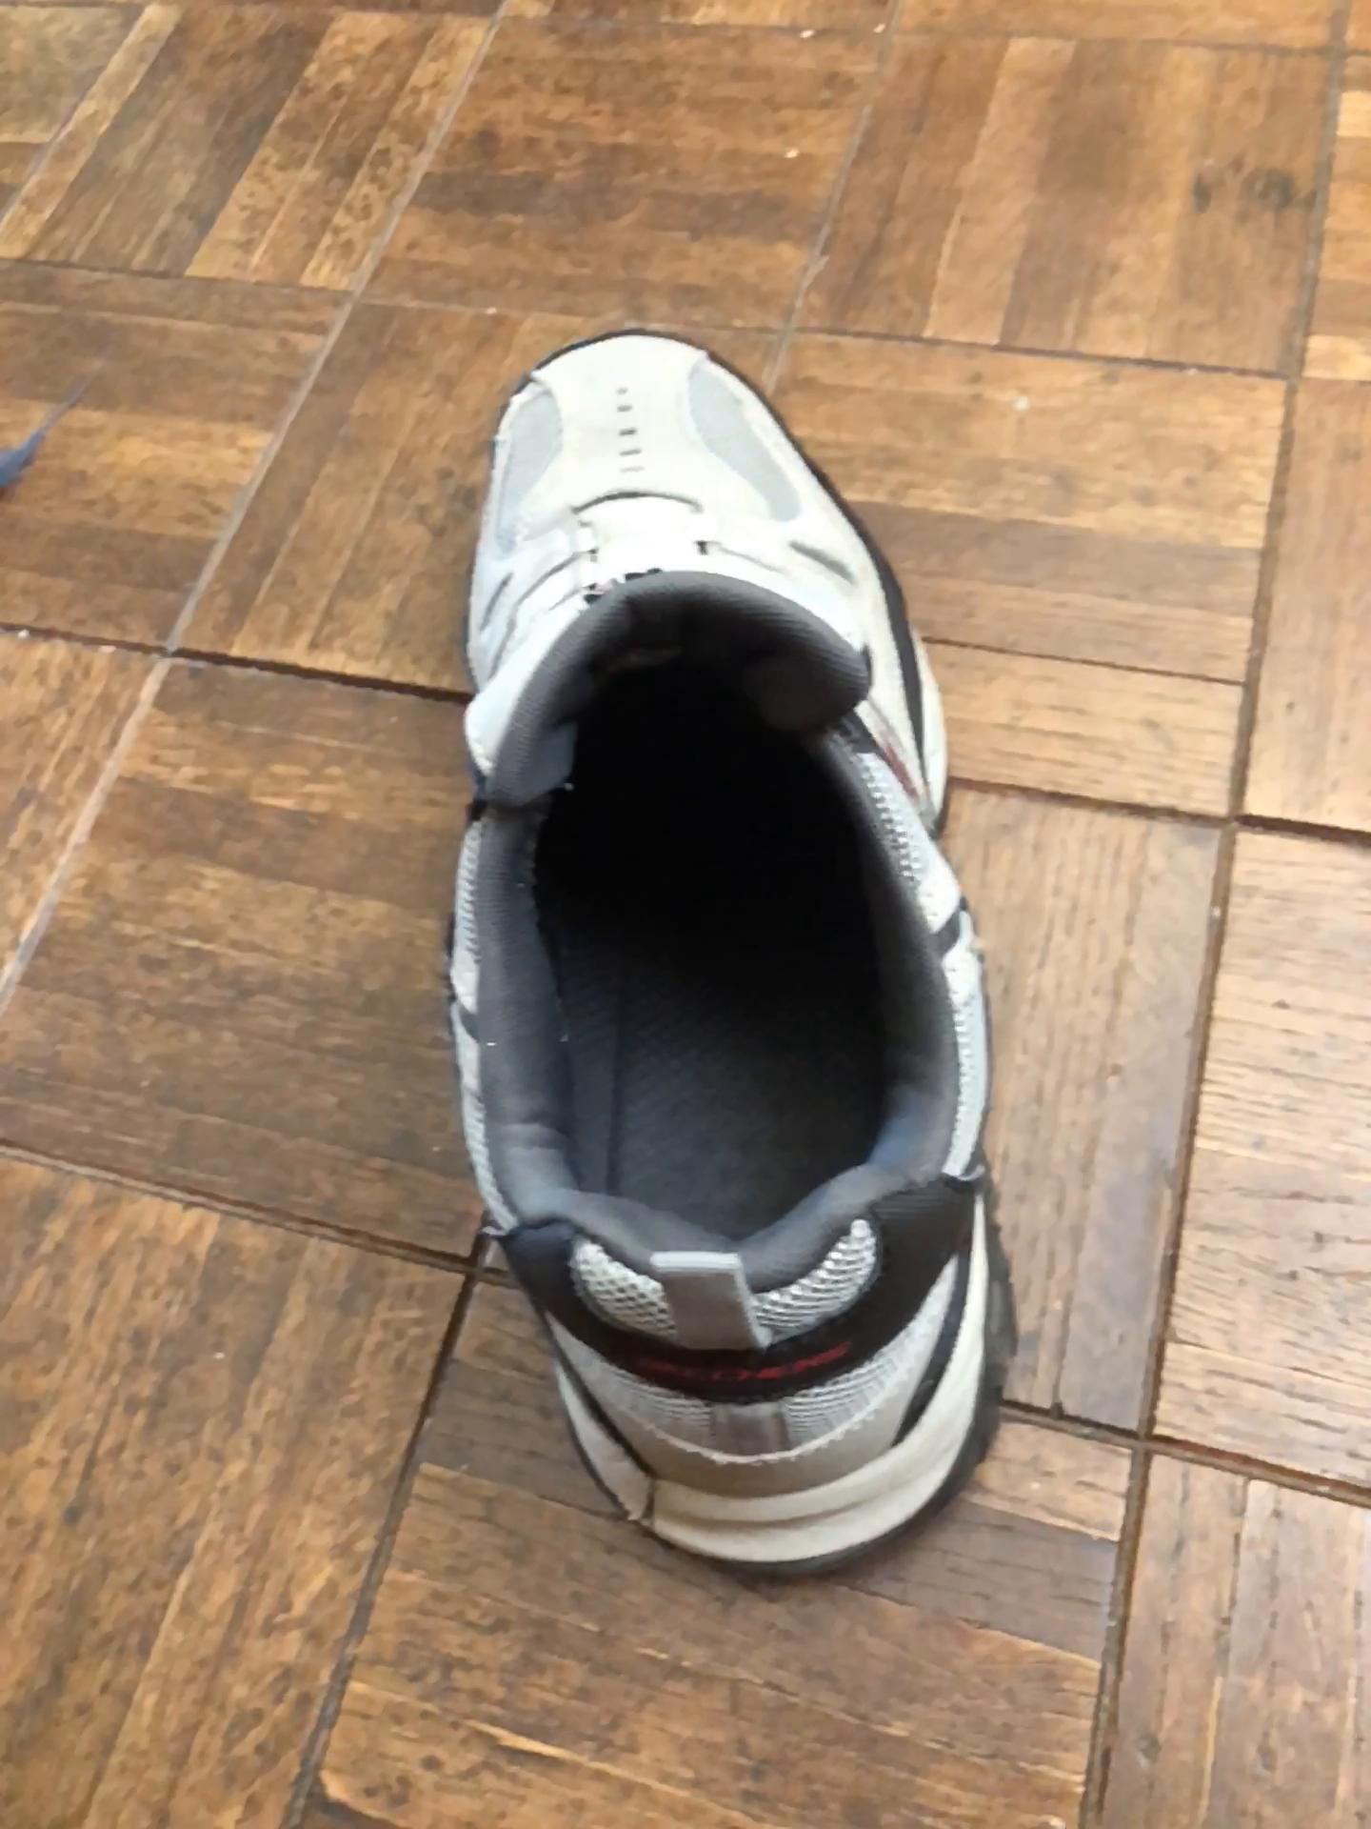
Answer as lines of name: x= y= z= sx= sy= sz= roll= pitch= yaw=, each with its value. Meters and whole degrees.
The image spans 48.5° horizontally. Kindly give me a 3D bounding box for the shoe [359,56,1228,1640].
shoe: x=0.007 y=-0.019 z=0.352 sx=0.120 sy=0.150 sz=0.320 roll=-9 pitch=61 yaw=4
